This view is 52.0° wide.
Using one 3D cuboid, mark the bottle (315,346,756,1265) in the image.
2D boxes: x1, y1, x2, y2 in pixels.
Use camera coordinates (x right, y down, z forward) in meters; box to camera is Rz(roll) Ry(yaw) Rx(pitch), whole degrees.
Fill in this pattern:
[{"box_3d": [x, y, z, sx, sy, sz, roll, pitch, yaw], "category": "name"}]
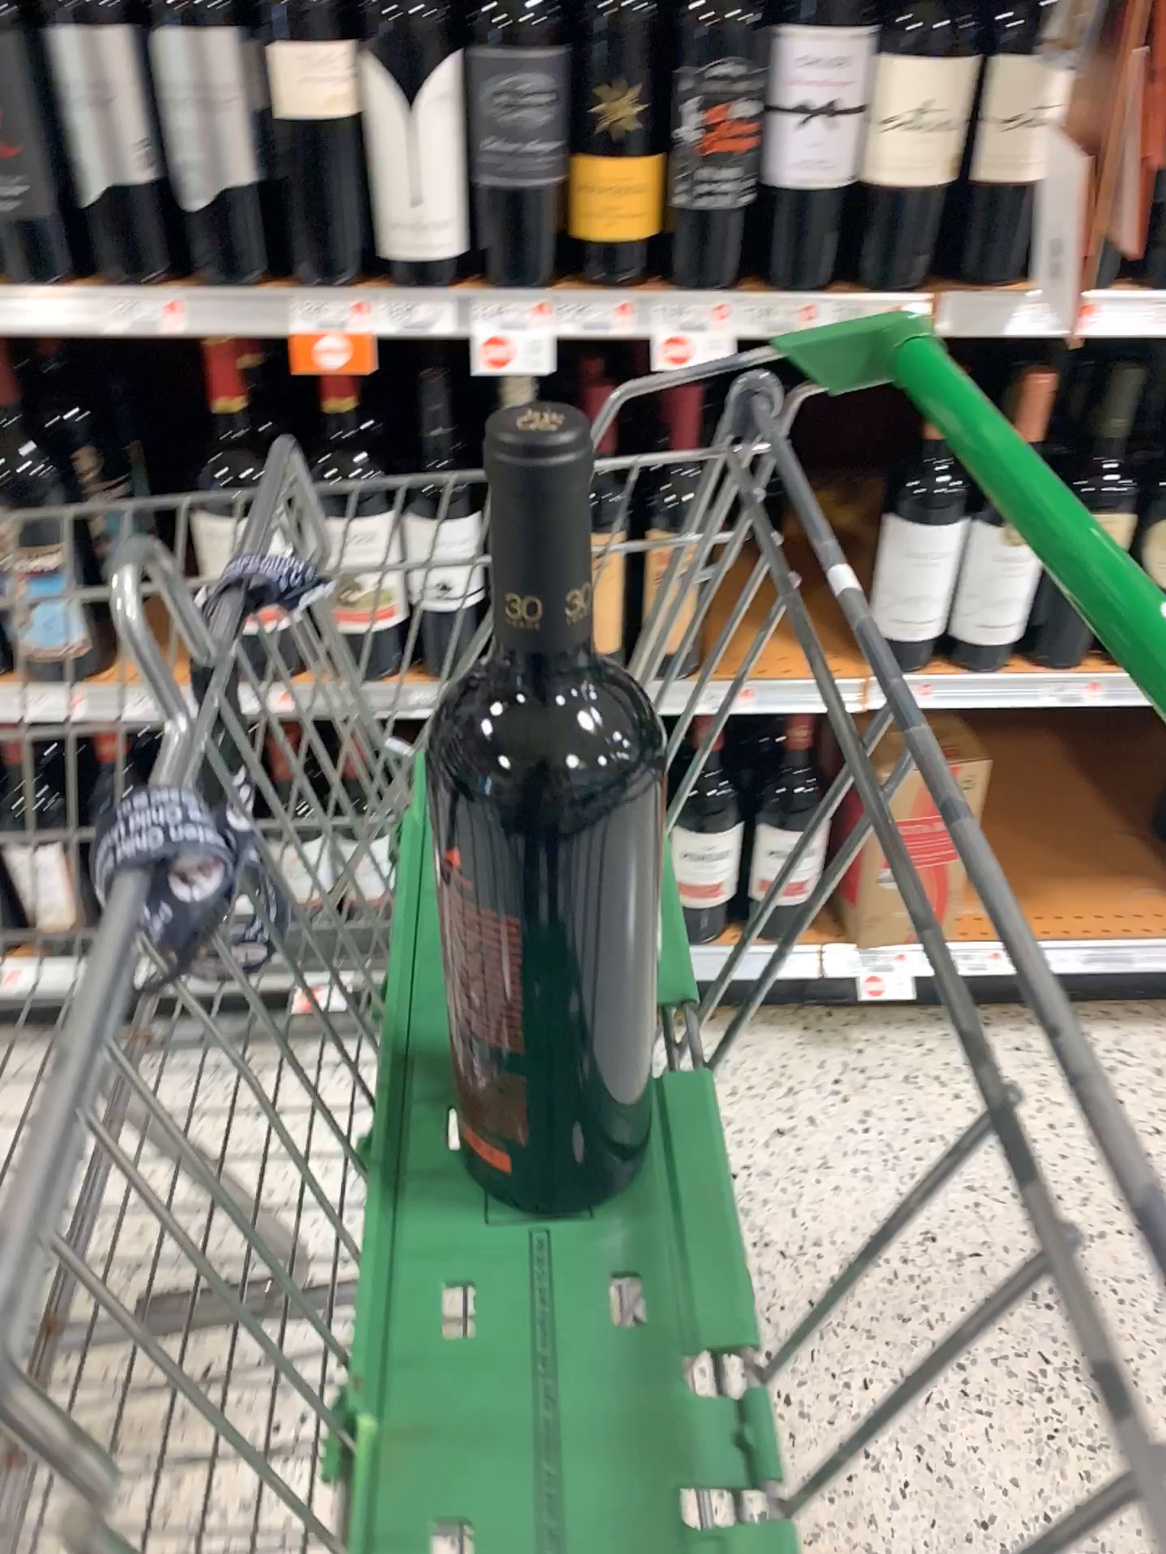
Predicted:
[{"box_3d": [-0.013, 0.026, 0.395, 0.080, 0.297, 0.080, 0, 37, 0], "category": "bottle"}]
